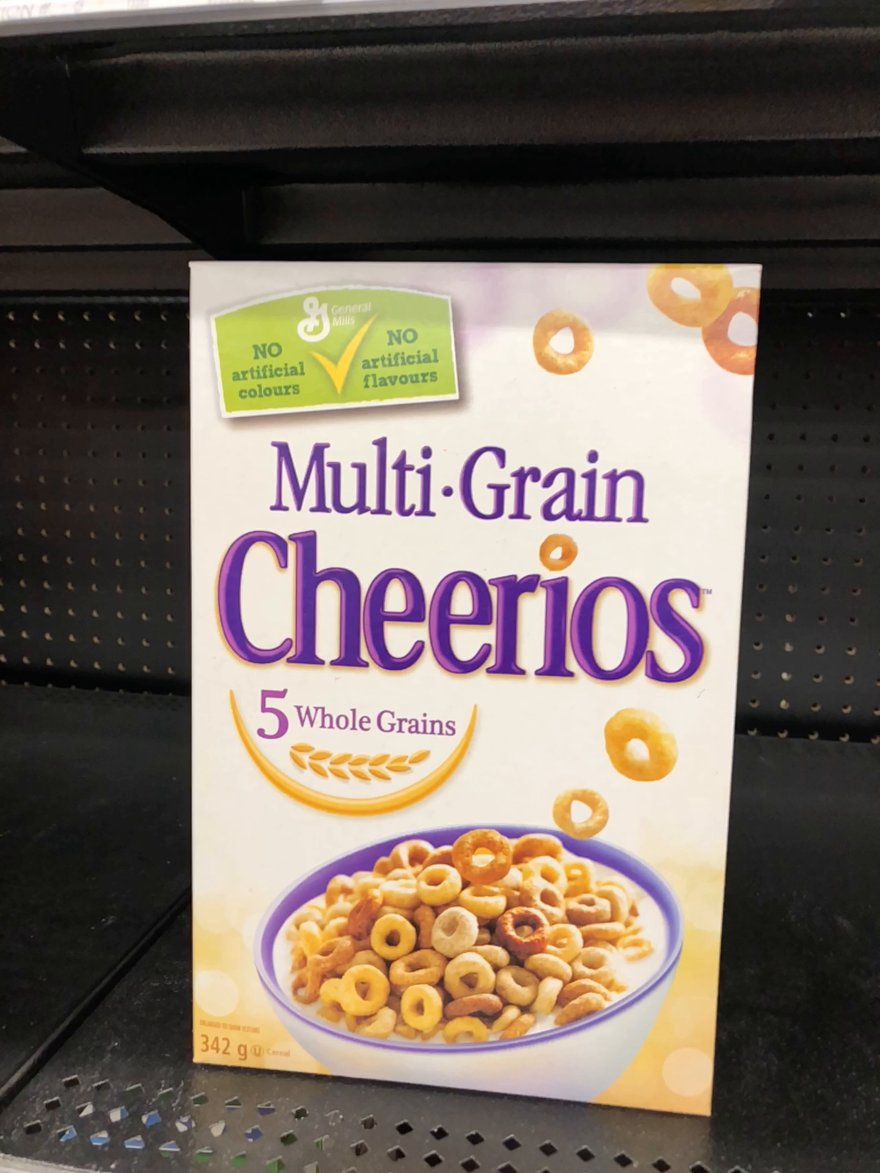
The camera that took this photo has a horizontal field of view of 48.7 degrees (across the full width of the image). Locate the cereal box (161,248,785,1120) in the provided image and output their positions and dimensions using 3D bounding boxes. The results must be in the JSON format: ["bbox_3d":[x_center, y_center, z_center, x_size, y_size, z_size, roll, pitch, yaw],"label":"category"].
[{"bbox_3d":[0.008,0.031,0.363,0.200,0.289,0.070,2,8,7],"label":"cereal box"}]
